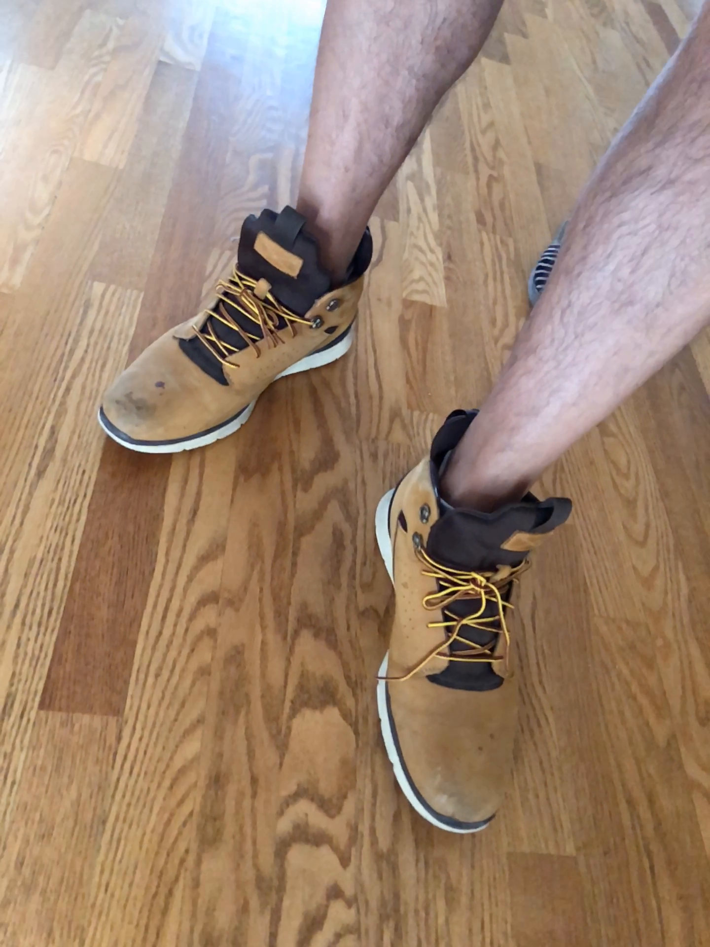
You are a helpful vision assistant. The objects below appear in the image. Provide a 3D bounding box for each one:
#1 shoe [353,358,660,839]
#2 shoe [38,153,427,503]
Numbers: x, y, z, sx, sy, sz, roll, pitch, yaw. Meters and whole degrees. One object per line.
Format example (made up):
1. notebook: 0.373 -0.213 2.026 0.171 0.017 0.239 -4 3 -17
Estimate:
1. shoe: 0.081 0.082 0.545 0.120 0.139 0.291 8 52 -15
2. shoe: -0.097 -0.137 0.667 0.120 0.149 0.311 41 51 12
